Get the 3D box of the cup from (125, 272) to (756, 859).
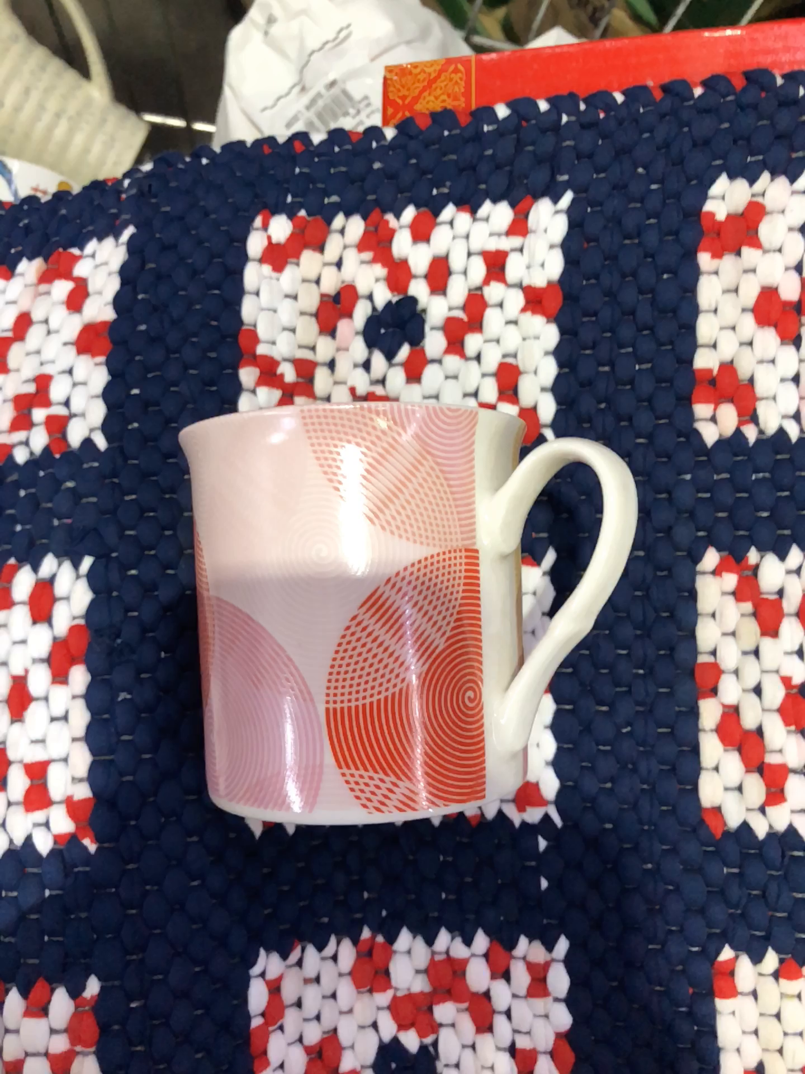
[{"bbox_3d":[0.012,0.013,0.226,0.120,0.100,0.100,-7,82,30],"label":"cup"}]
